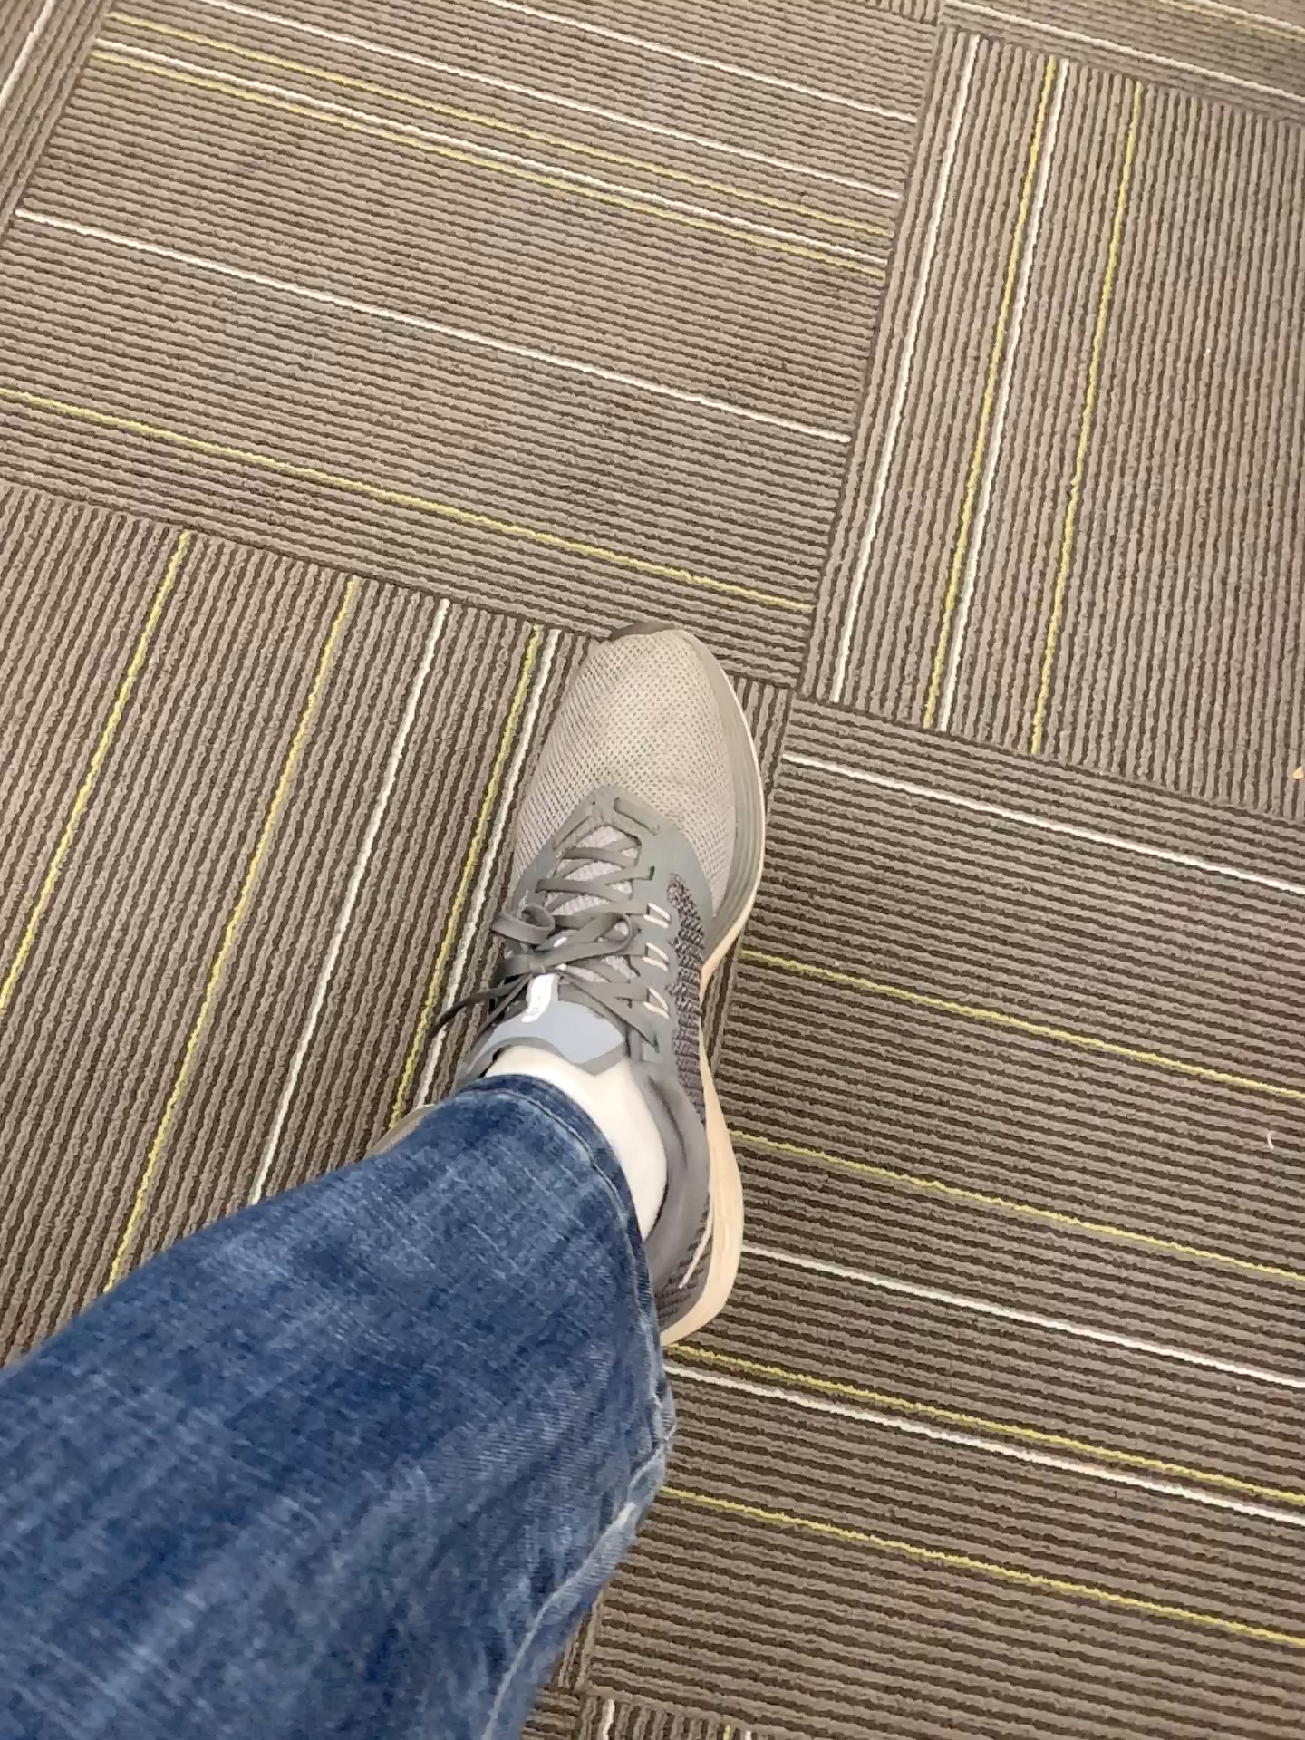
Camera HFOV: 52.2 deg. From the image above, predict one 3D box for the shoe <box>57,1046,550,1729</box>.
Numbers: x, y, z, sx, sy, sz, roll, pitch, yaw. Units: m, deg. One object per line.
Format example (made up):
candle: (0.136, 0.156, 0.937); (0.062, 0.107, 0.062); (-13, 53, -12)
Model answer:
shoe: (-0.183, 0.284, 0.781); (0.123, 0.180, 0.310); (24, 72, 1)

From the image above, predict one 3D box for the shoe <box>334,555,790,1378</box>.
shoe: (-0.027, 0.045, 0.537); (0.127, 0.115, 0.297); (-9, 68, 23)
